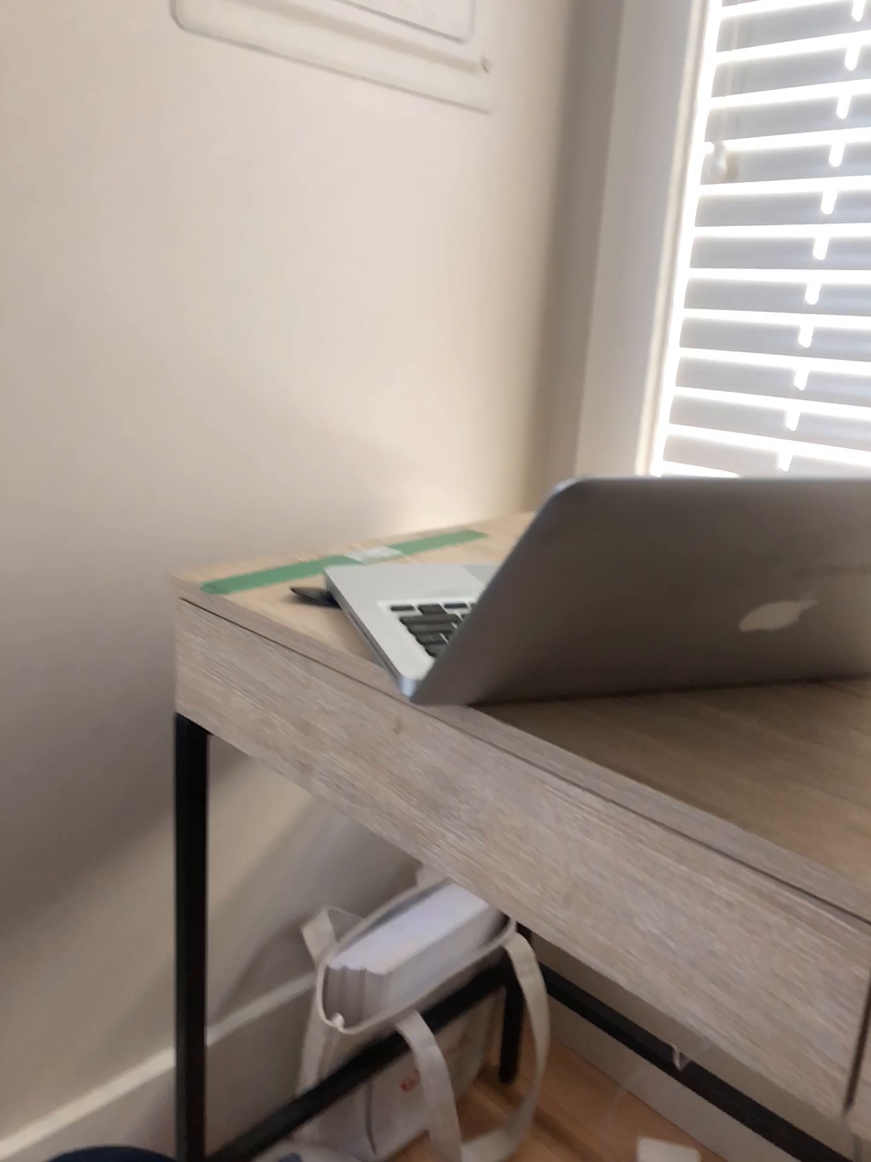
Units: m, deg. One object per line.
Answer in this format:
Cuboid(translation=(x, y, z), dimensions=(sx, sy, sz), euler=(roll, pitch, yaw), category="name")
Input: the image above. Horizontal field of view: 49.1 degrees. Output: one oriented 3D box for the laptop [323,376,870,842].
Cuboid(translation=(0.133, -0.024, 0.553), dimensions=(0.320, 0.133, 0.347), euler=(-2, 18, -19), category="laptop")
